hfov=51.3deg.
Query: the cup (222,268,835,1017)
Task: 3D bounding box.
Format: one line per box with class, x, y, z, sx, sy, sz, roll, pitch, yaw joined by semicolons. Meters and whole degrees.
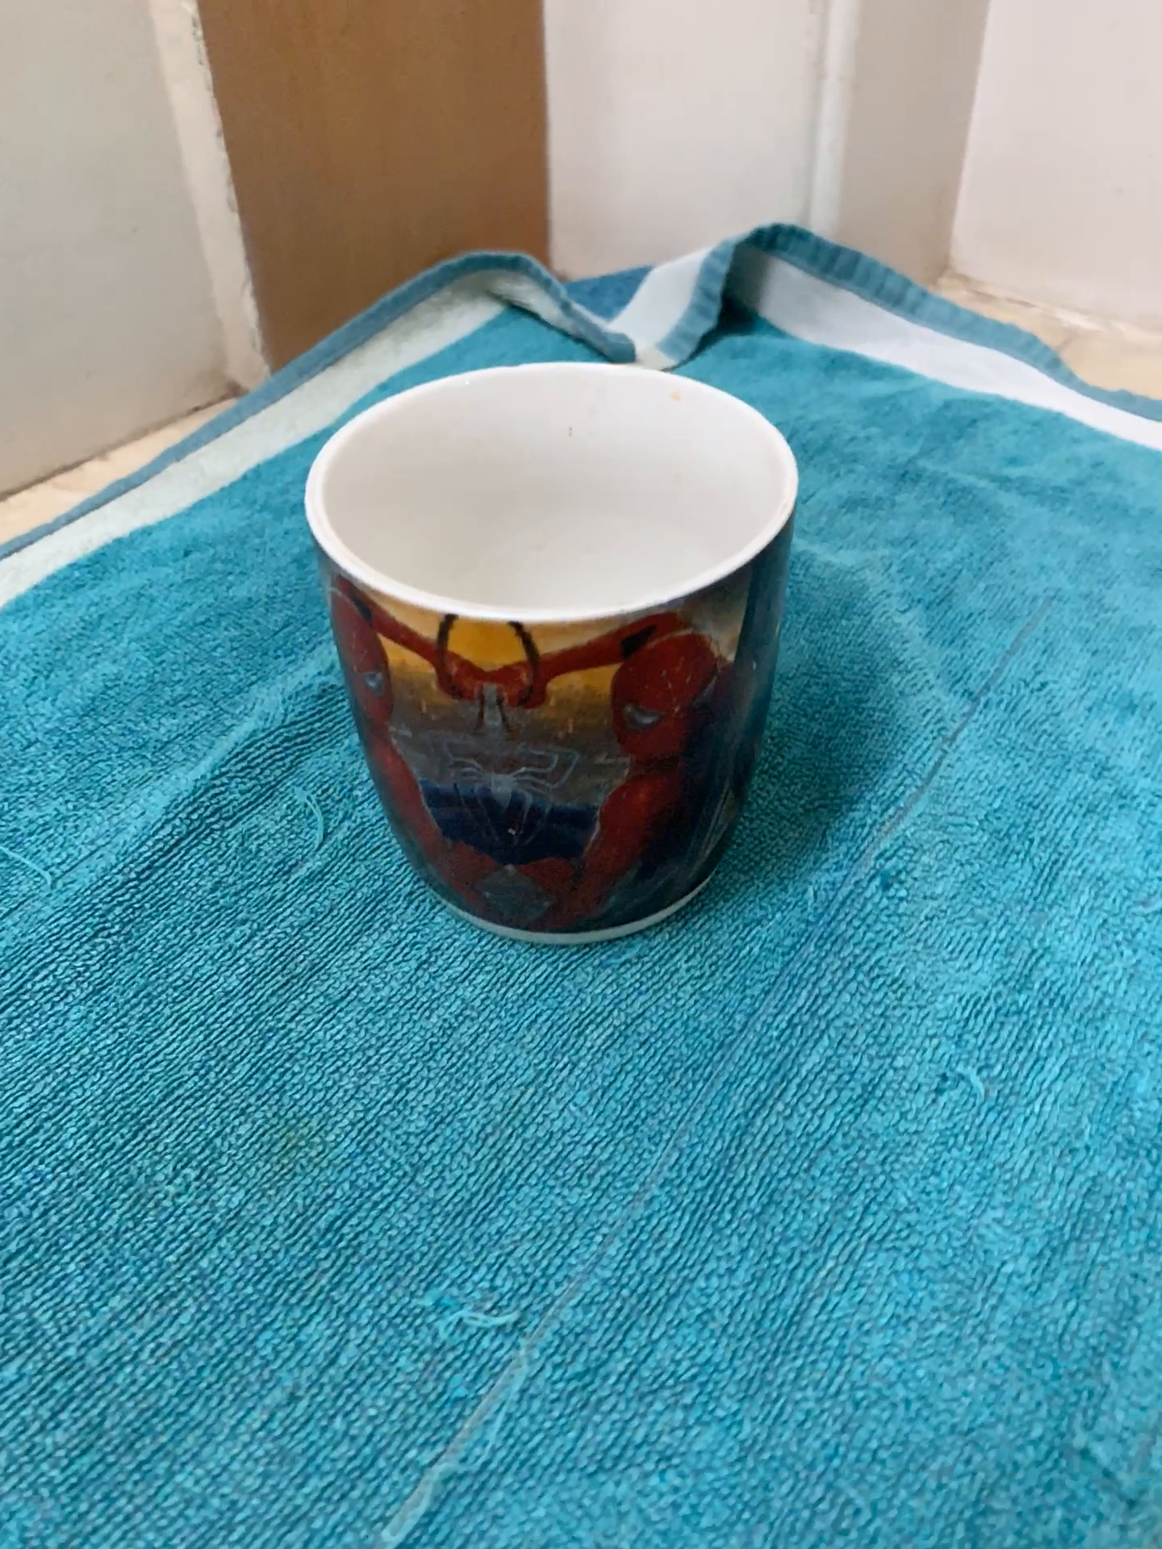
cup;0.001;-0.034;0.246;0.080;0.089;0.121;8;43;11
